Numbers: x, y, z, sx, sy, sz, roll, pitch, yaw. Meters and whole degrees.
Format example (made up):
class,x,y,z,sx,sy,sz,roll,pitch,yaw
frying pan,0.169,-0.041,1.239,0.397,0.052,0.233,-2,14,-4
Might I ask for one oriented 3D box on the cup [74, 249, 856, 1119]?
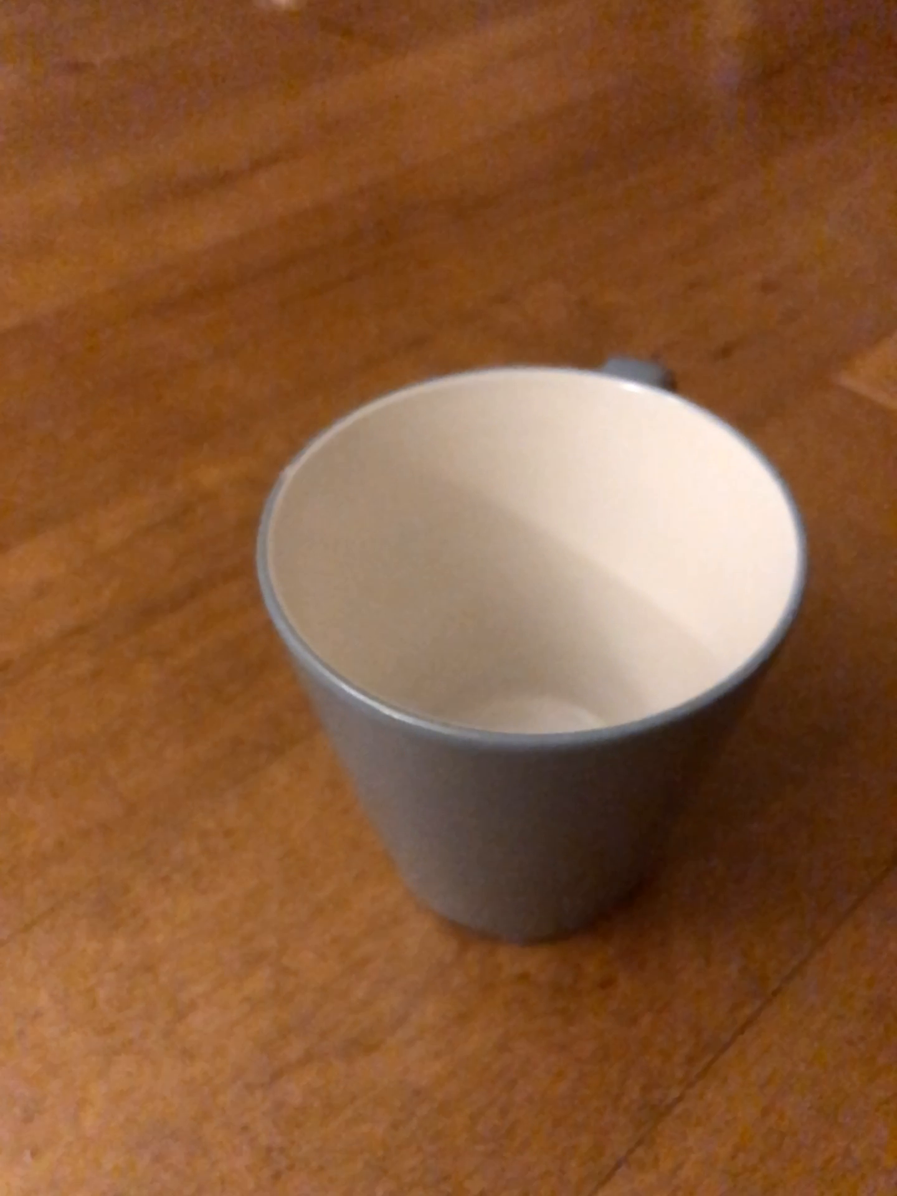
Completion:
class,x,y,z,sx,sy,sz,roll,pitch,yaw
cup,0.016,0.009,0.227,0.100,0.099,0.141,16,49,18
